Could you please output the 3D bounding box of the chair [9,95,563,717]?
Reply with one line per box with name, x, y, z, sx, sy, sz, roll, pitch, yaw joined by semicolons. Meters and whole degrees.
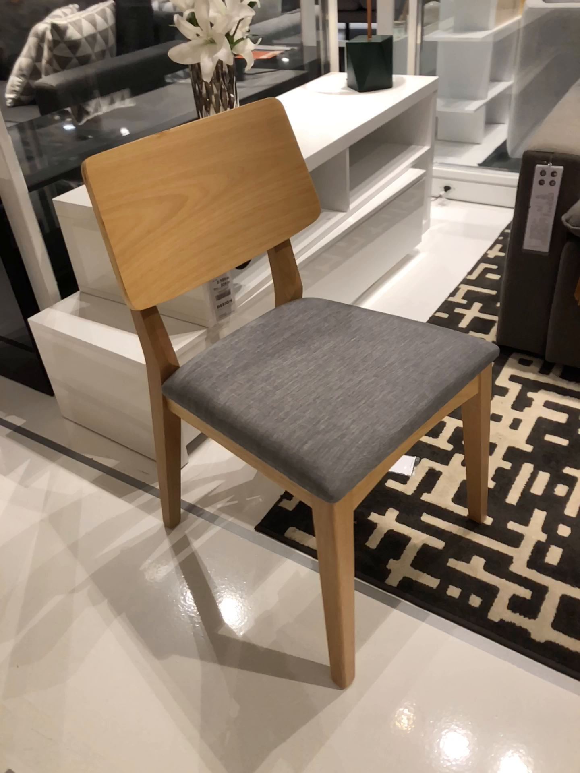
chair;0.017;-0.010;1.140;0.582;0.794;0.542;25;46;35
